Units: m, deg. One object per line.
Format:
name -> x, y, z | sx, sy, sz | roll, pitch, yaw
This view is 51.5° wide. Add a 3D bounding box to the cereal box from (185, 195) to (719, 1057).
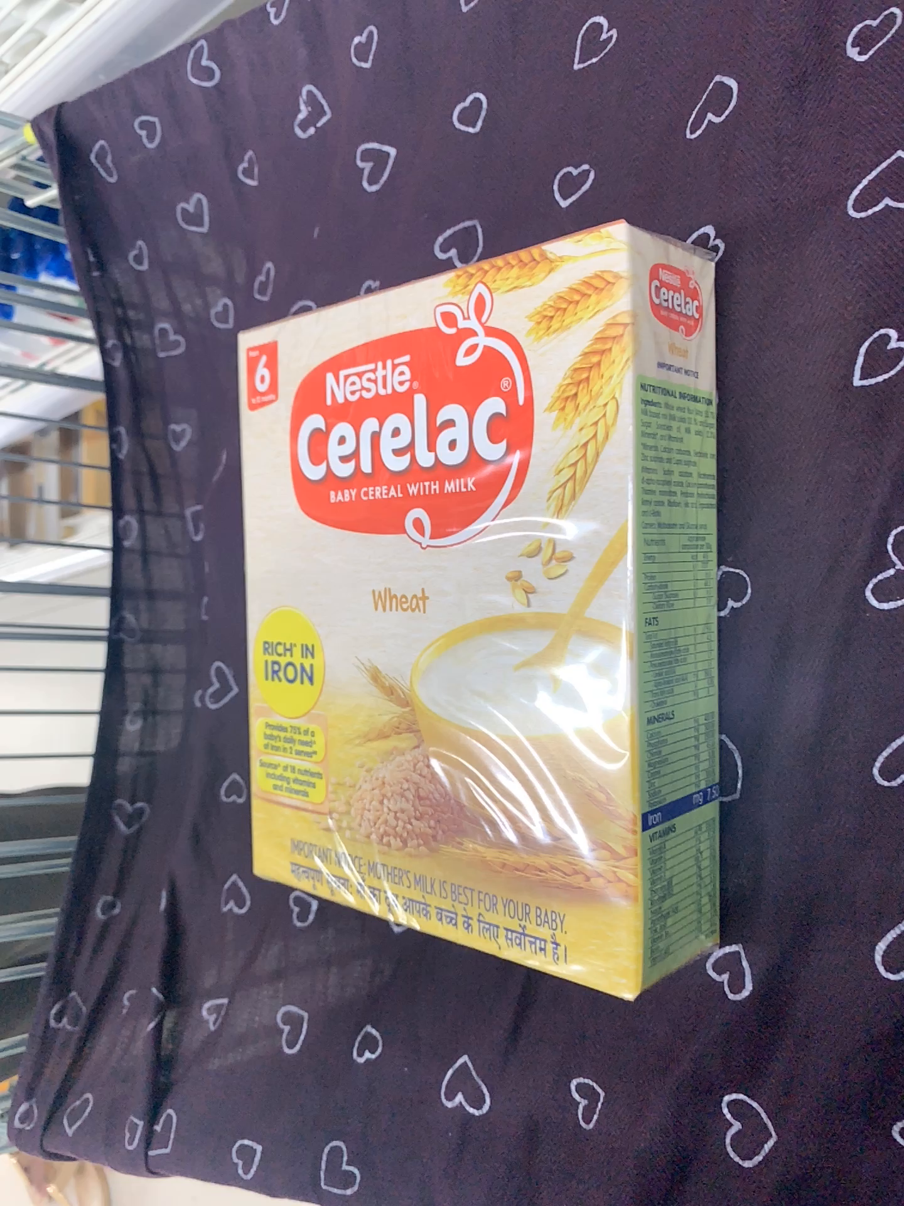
cereal box -> -0.008, 0.004, 0.235 | 0.141, 0.040, 0.160 | 1, 94, 42
